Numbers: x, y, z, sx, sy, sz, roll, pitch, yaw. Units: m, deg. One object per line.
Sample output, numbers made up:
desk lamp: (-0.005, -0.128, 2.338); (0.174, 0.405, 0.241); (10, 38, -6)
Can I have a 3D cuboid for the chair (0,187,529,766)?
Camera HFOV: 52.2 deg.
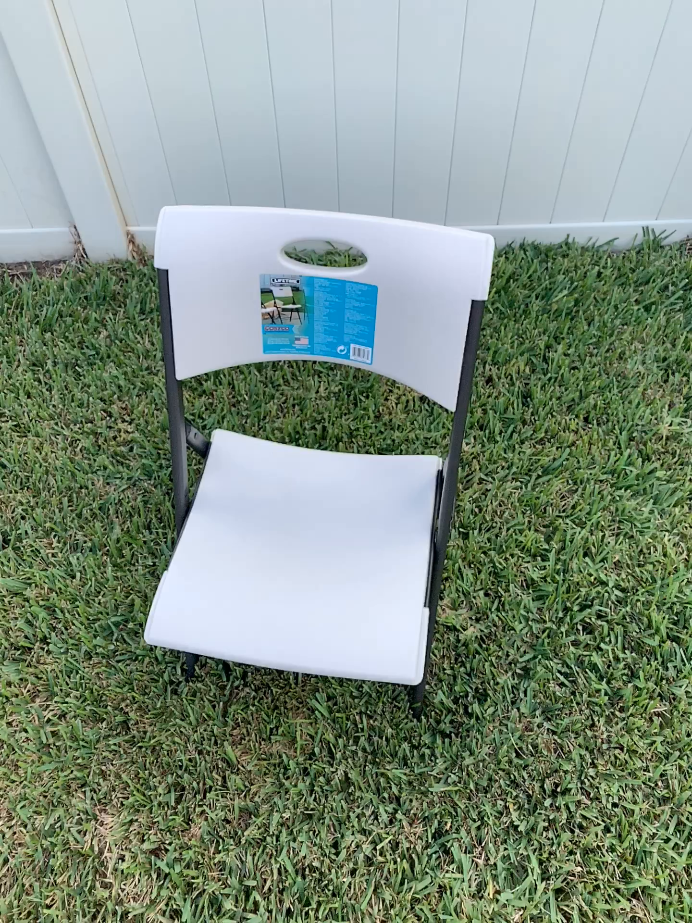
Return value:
chair: (-0.043, 0.074, 1.128); (0.518, 0.767, 0.519); (7, 54, 6)
